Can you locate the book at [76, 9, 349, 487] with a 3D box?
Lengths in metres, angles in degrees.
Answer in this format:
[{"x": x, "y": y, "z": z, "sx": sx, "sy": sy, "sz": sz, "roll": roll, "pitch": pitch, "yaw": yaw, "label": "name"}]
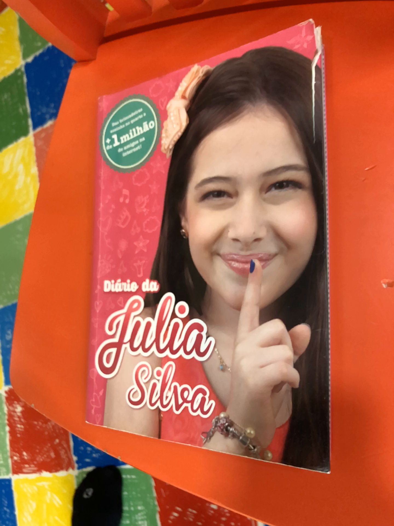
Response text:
[{"x": 0.002, "y": -0.011, "z": 0.272, "sx": 0.171, "sy": 0.020, "sz": 0.241, "roll": -2, "pitch": 83, "yaw": 30, "label": "book"}]
